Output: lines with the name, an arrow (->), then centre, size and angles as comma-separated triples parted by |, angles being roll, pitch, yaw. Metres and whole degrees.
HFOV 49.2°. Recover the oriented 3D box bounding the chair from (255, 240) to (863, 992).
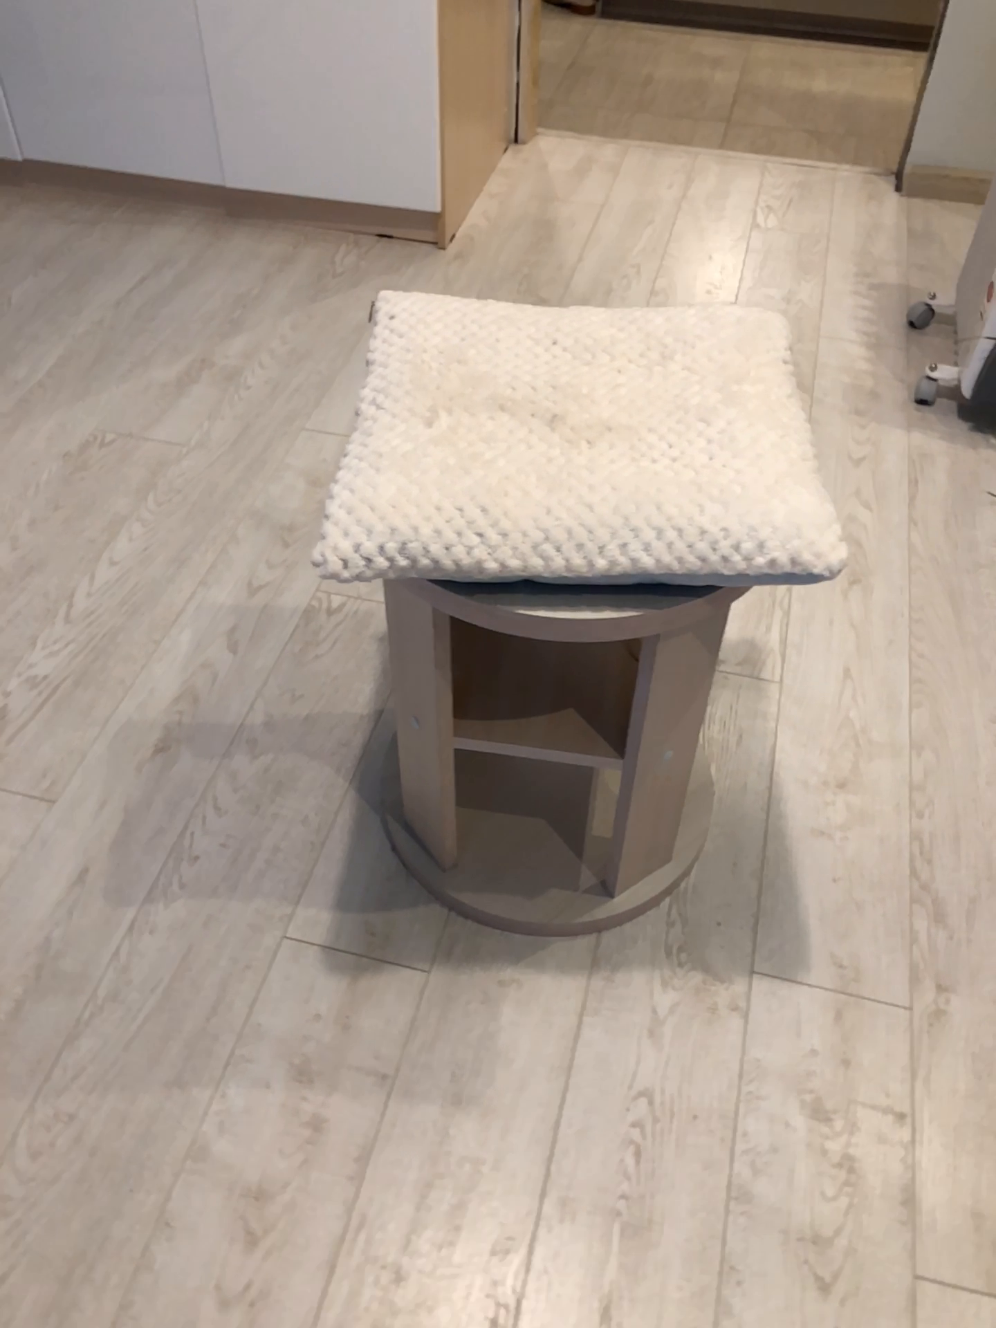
chair -> 0.068, -0.035, 1.060 | 0.400, 0.546, 0.383 | 13, 47, 10
